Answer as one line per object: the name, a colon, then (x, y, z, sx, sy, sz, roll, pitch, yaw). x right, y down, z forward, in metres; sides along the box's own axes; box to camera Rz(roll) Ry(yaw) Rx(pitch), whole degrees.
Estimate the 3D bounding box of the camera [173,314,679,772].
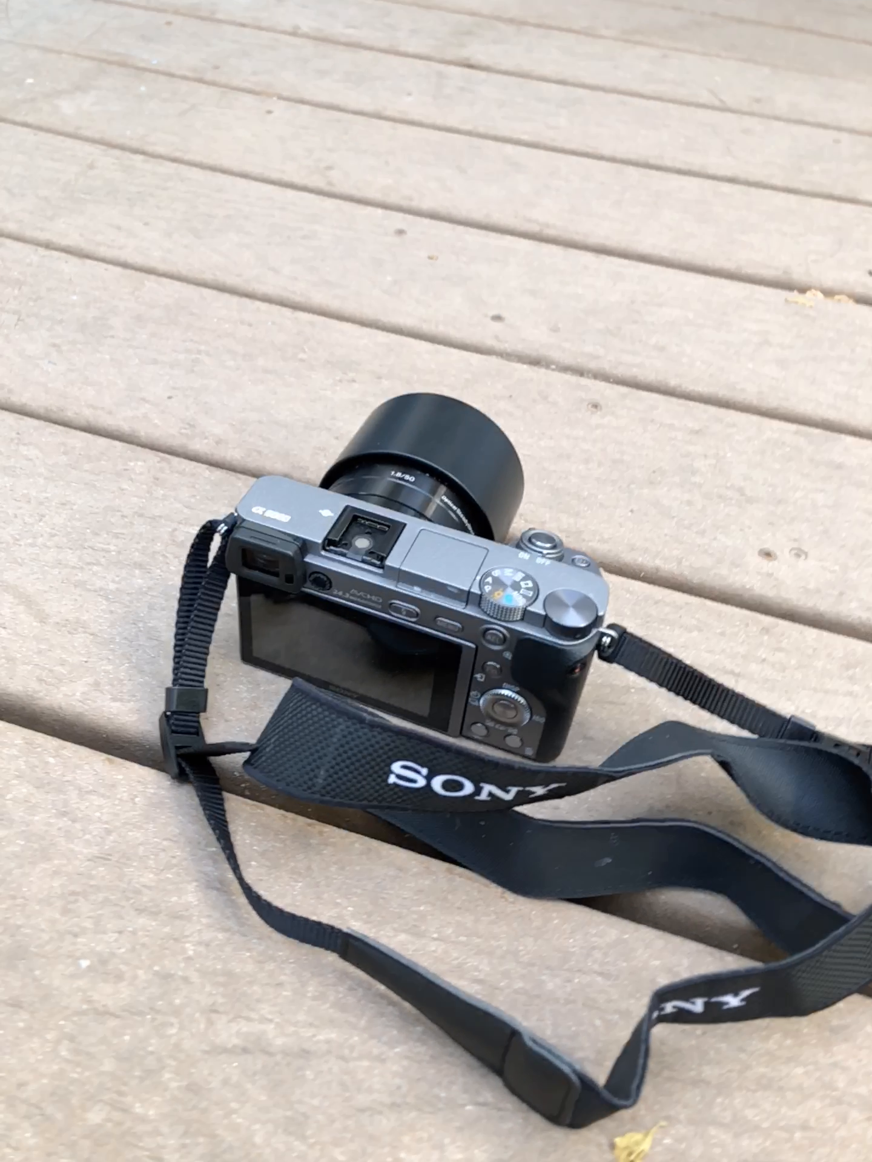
camera: (0.001, -0.019, 0.327, 0.130, 0.070, 0.111, 17, 45, 10)
